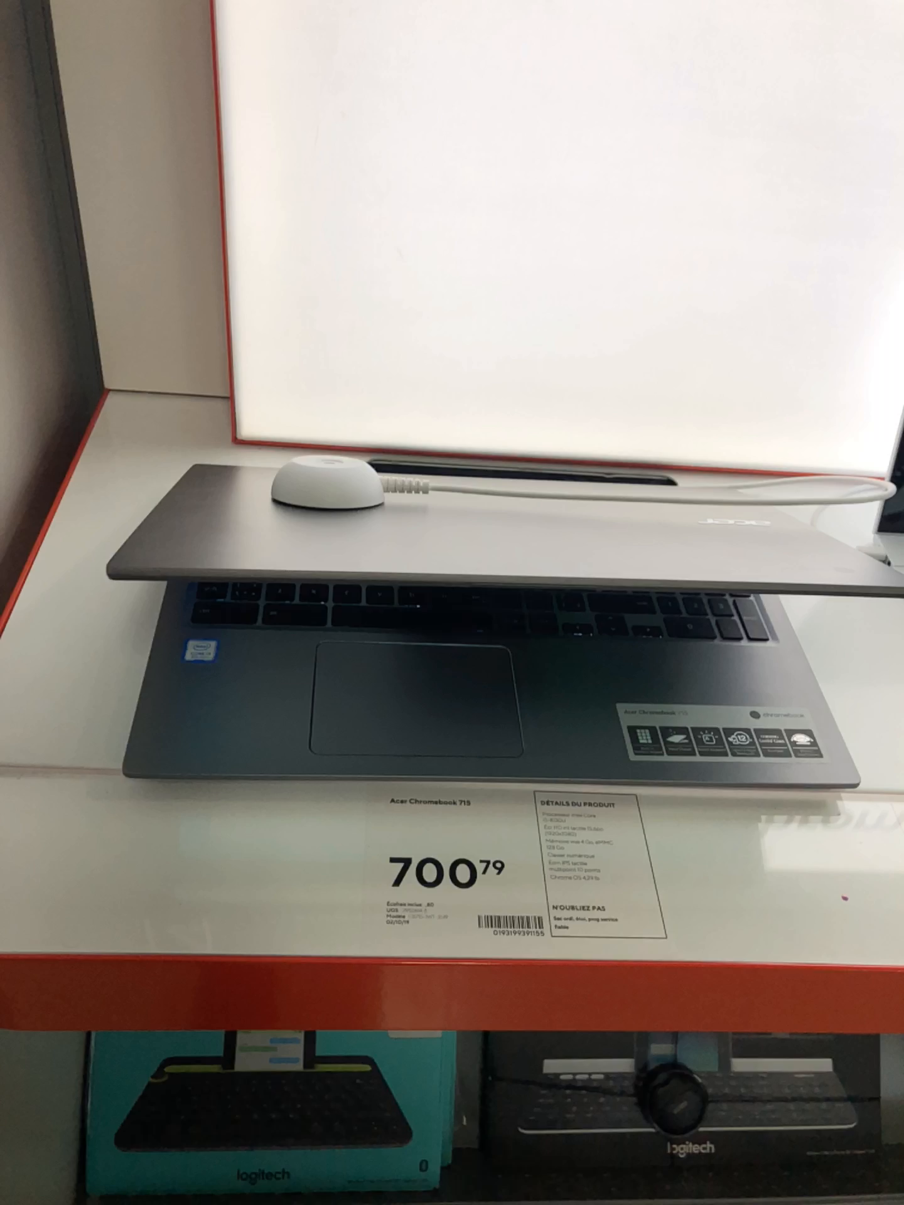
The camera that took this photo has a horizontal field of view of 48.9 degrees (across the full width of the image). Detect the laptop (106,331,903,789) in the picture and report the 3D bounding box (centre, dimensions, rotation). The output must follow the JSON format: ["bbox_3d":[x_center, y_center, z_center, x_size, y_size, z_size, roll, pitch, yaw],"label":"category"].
[{"bbox_3d":[0.029,-0.031,0.531,0.356,0.105,0.237,2,40,-7],"label":"laptop"}]
